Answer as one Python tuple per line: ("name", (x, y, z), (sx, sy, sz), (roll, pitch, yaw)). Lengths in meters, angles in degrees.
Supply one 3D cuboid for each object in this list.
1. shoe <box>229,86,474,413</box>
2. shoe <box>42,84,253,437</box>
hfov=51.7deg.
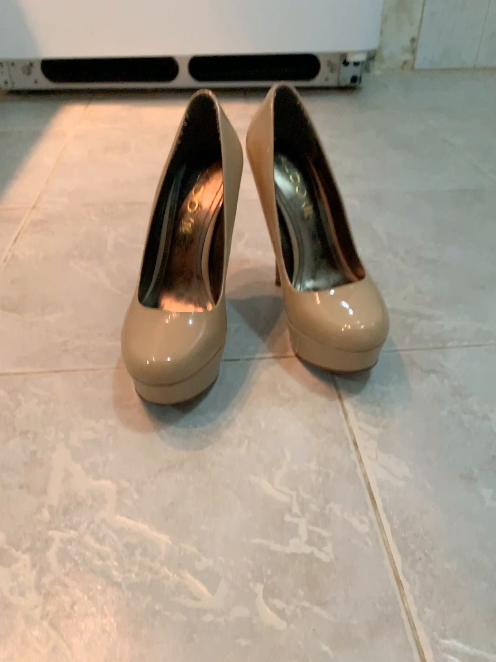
("shoe", (0.055, -0.077, 0.407), (0.087, 0.166, 0.211), (-10, 40, -13))
("shoe", (-0.049, -0.063, 0.385), (0.087, 0.176, 0.211), (3, 39, 4))
